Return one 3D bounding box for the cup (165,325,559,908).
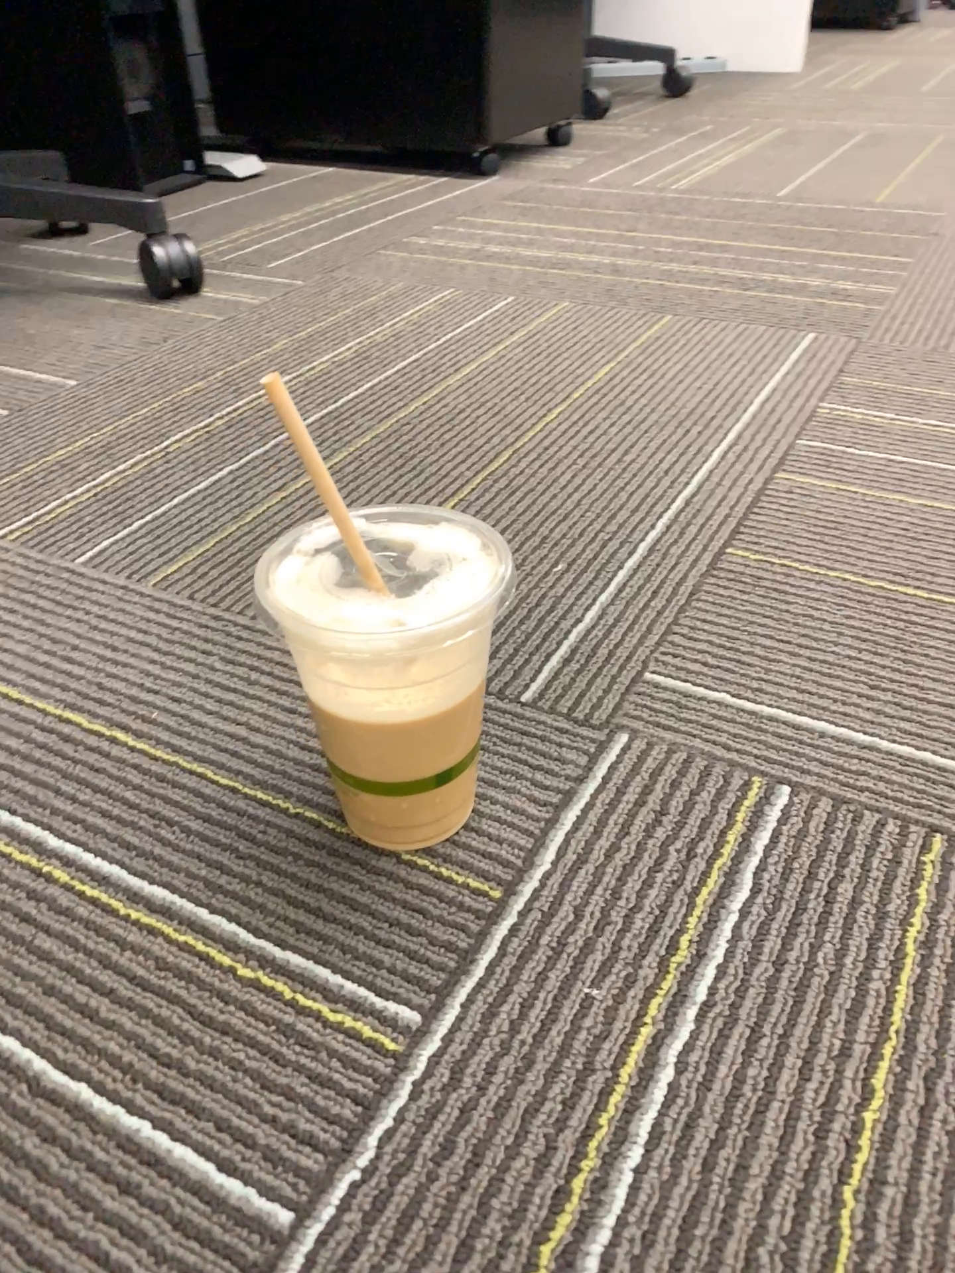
[{"bbox_3d":[-0.037,-0.008,0.374,0.100,0.179,0.091,-22,39,-26],"label":"cup"}]
